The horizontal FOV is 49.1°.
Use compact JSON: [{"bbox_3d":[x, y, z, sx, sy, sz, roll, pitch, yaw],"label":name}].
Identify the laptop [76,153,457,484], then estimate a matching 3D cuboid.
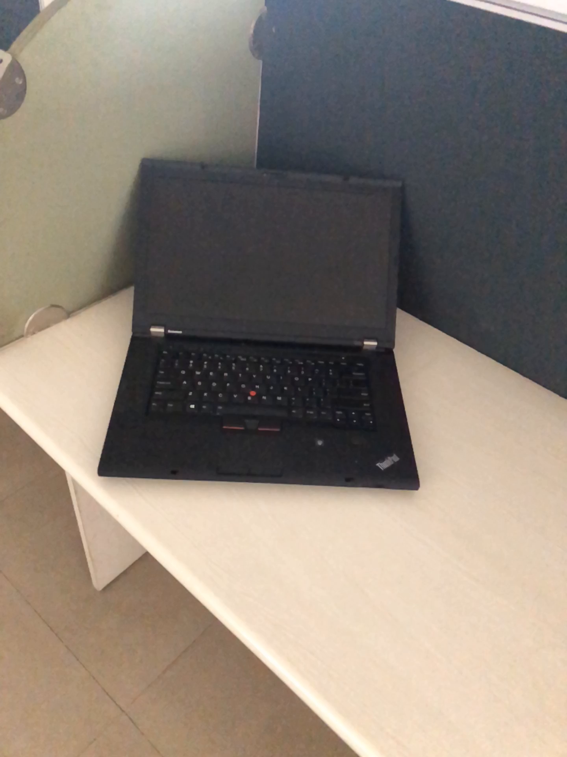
[{"bbox_3d":[-0.018,-0.095,0.779,0.355,0.167,0.407,3,45,-3],"label":"laptop"}]
